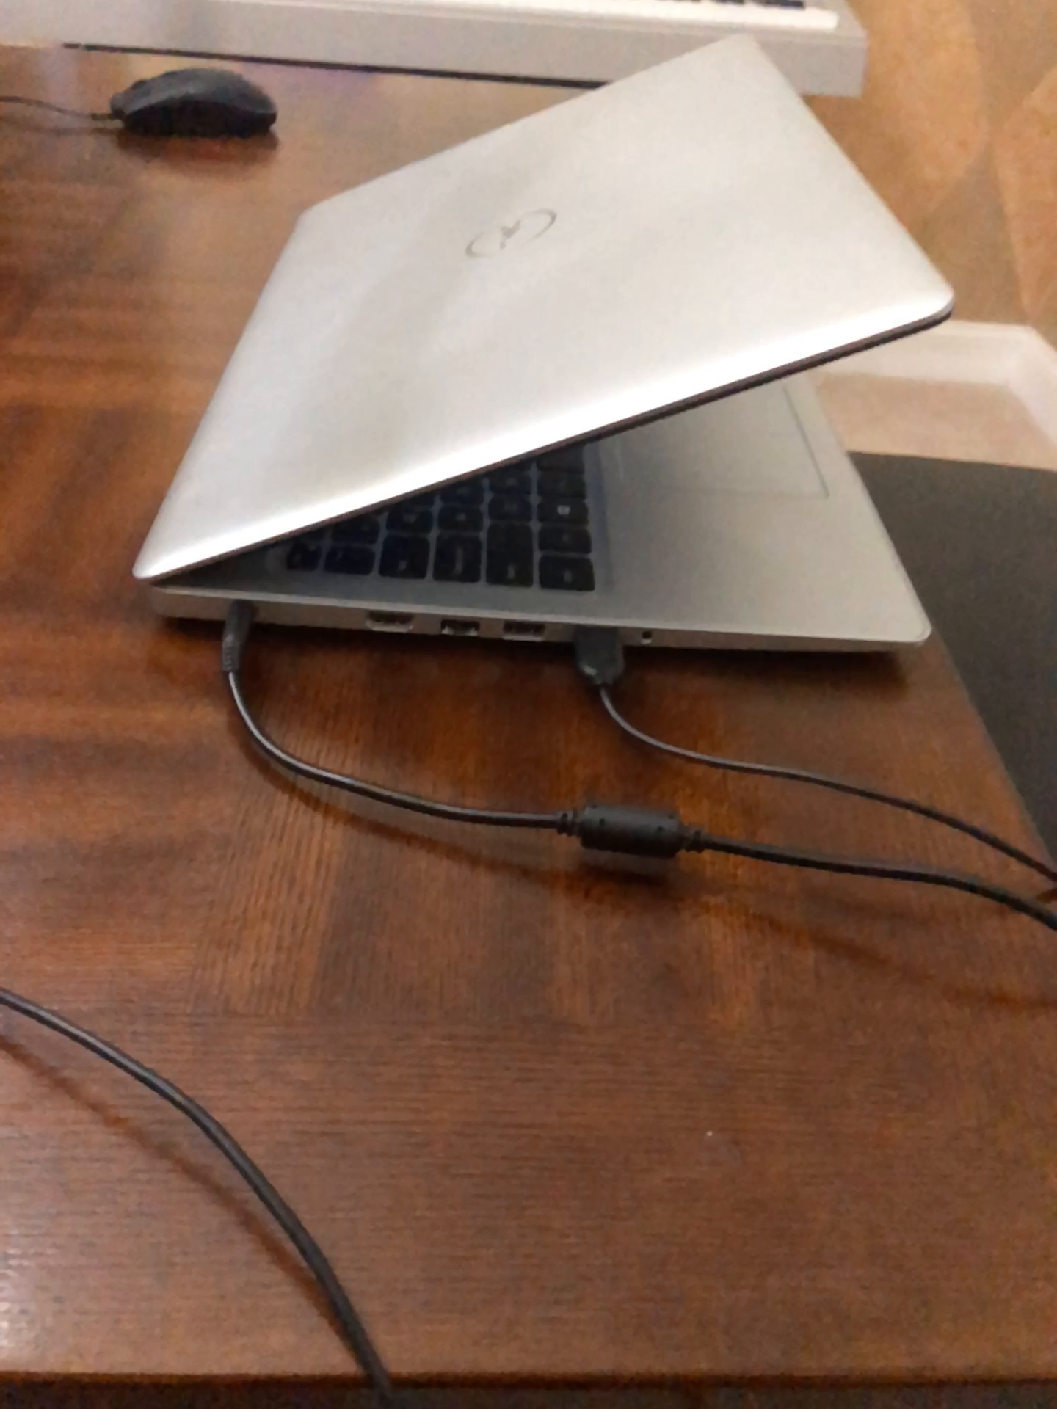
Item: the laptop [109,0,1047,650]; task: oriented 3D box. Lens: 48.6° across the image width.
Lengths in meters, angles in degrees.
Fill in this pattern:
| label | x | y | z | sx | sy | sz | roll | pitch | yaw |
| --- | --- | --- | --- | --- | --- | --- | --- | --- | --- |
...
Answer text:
| label | x | y | z | sx | sy | sz | roll | pitch | yaw |
| --- | --- | --- | --- | --- | --- | --- | --- | --- | --- |
| laptop | 0.013 | -0.184 | 0.481 | 0.249 | 0.103 | 0.370 | 4 | 39 | -5 |
